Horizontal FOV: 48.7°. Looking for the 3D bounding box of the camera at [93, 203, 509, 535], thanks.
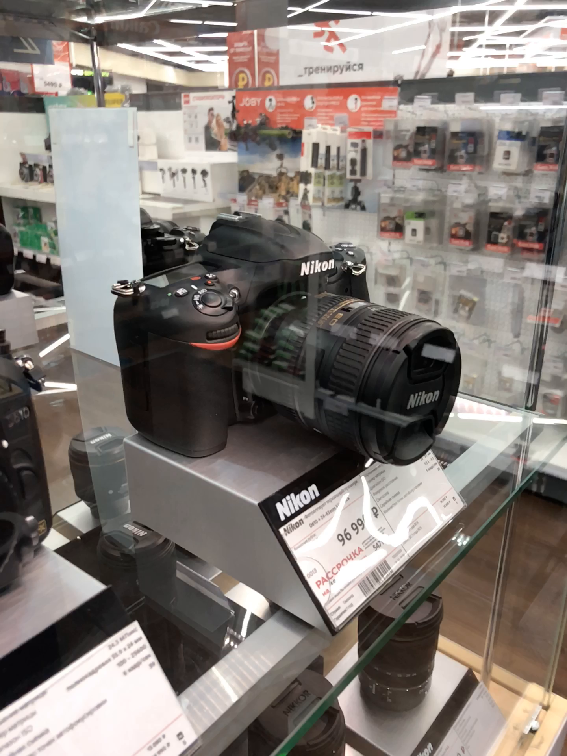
[{"bbox_3d":[0.008,-0.026,0.337,0.148,0.109,0.150,-19,29,-40],"label":"camera"}]
